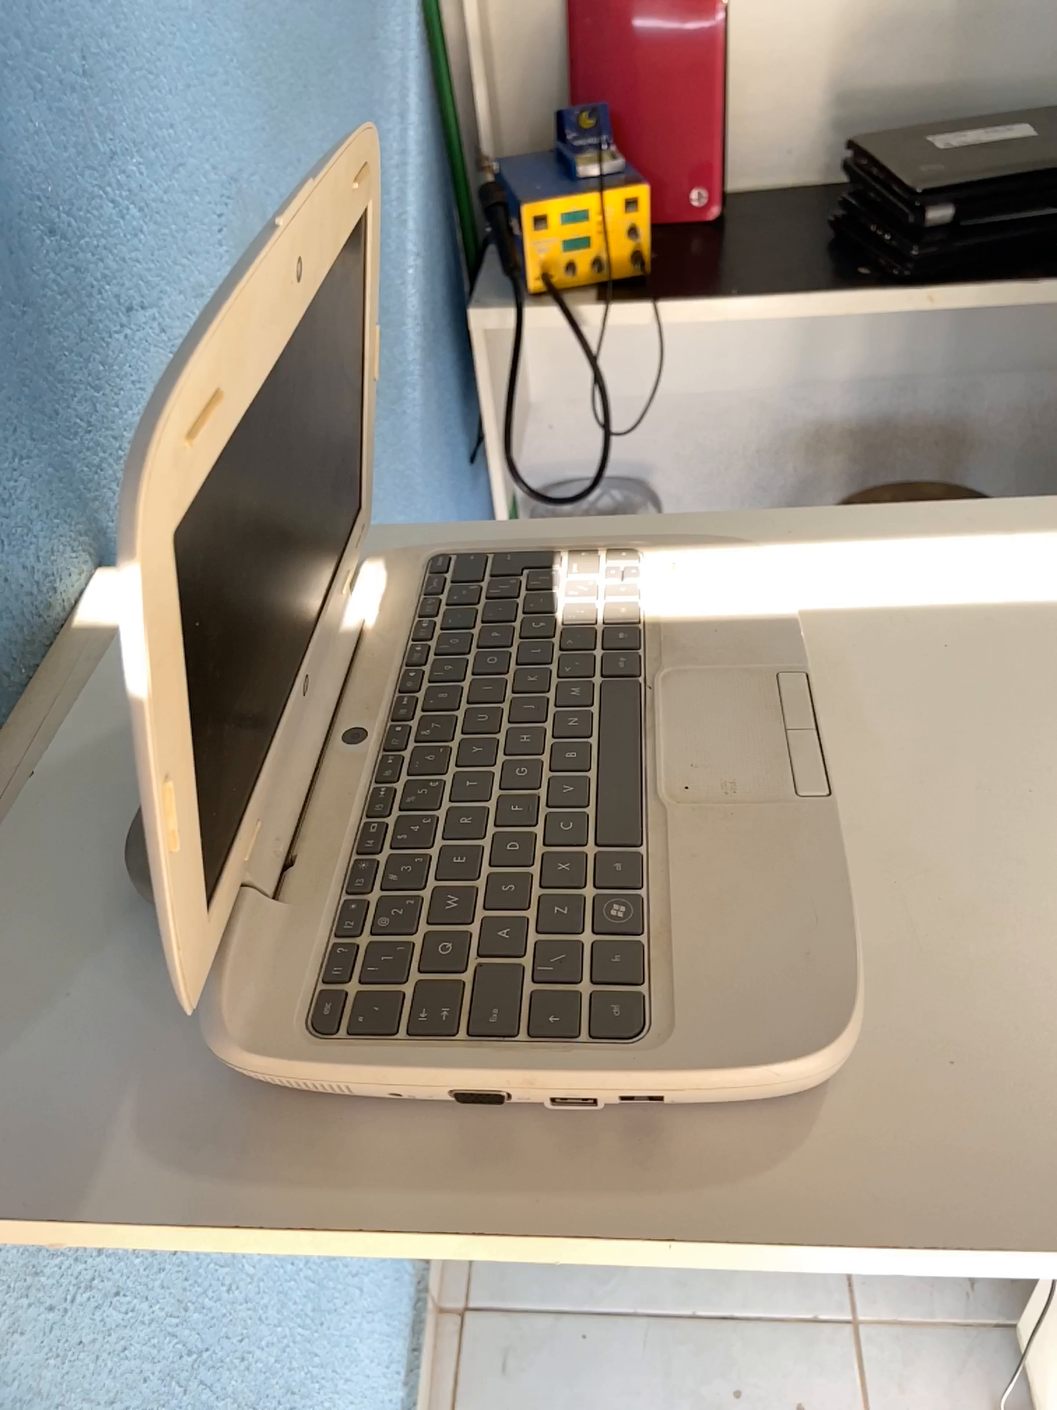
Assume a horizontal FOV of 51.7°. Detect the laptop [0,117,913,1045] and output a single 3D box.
[{"bbox_3d":[-0.001,-0.053,0.347,0.177,0.172,0.249,-1,41,6],"label":"laptop"}]
